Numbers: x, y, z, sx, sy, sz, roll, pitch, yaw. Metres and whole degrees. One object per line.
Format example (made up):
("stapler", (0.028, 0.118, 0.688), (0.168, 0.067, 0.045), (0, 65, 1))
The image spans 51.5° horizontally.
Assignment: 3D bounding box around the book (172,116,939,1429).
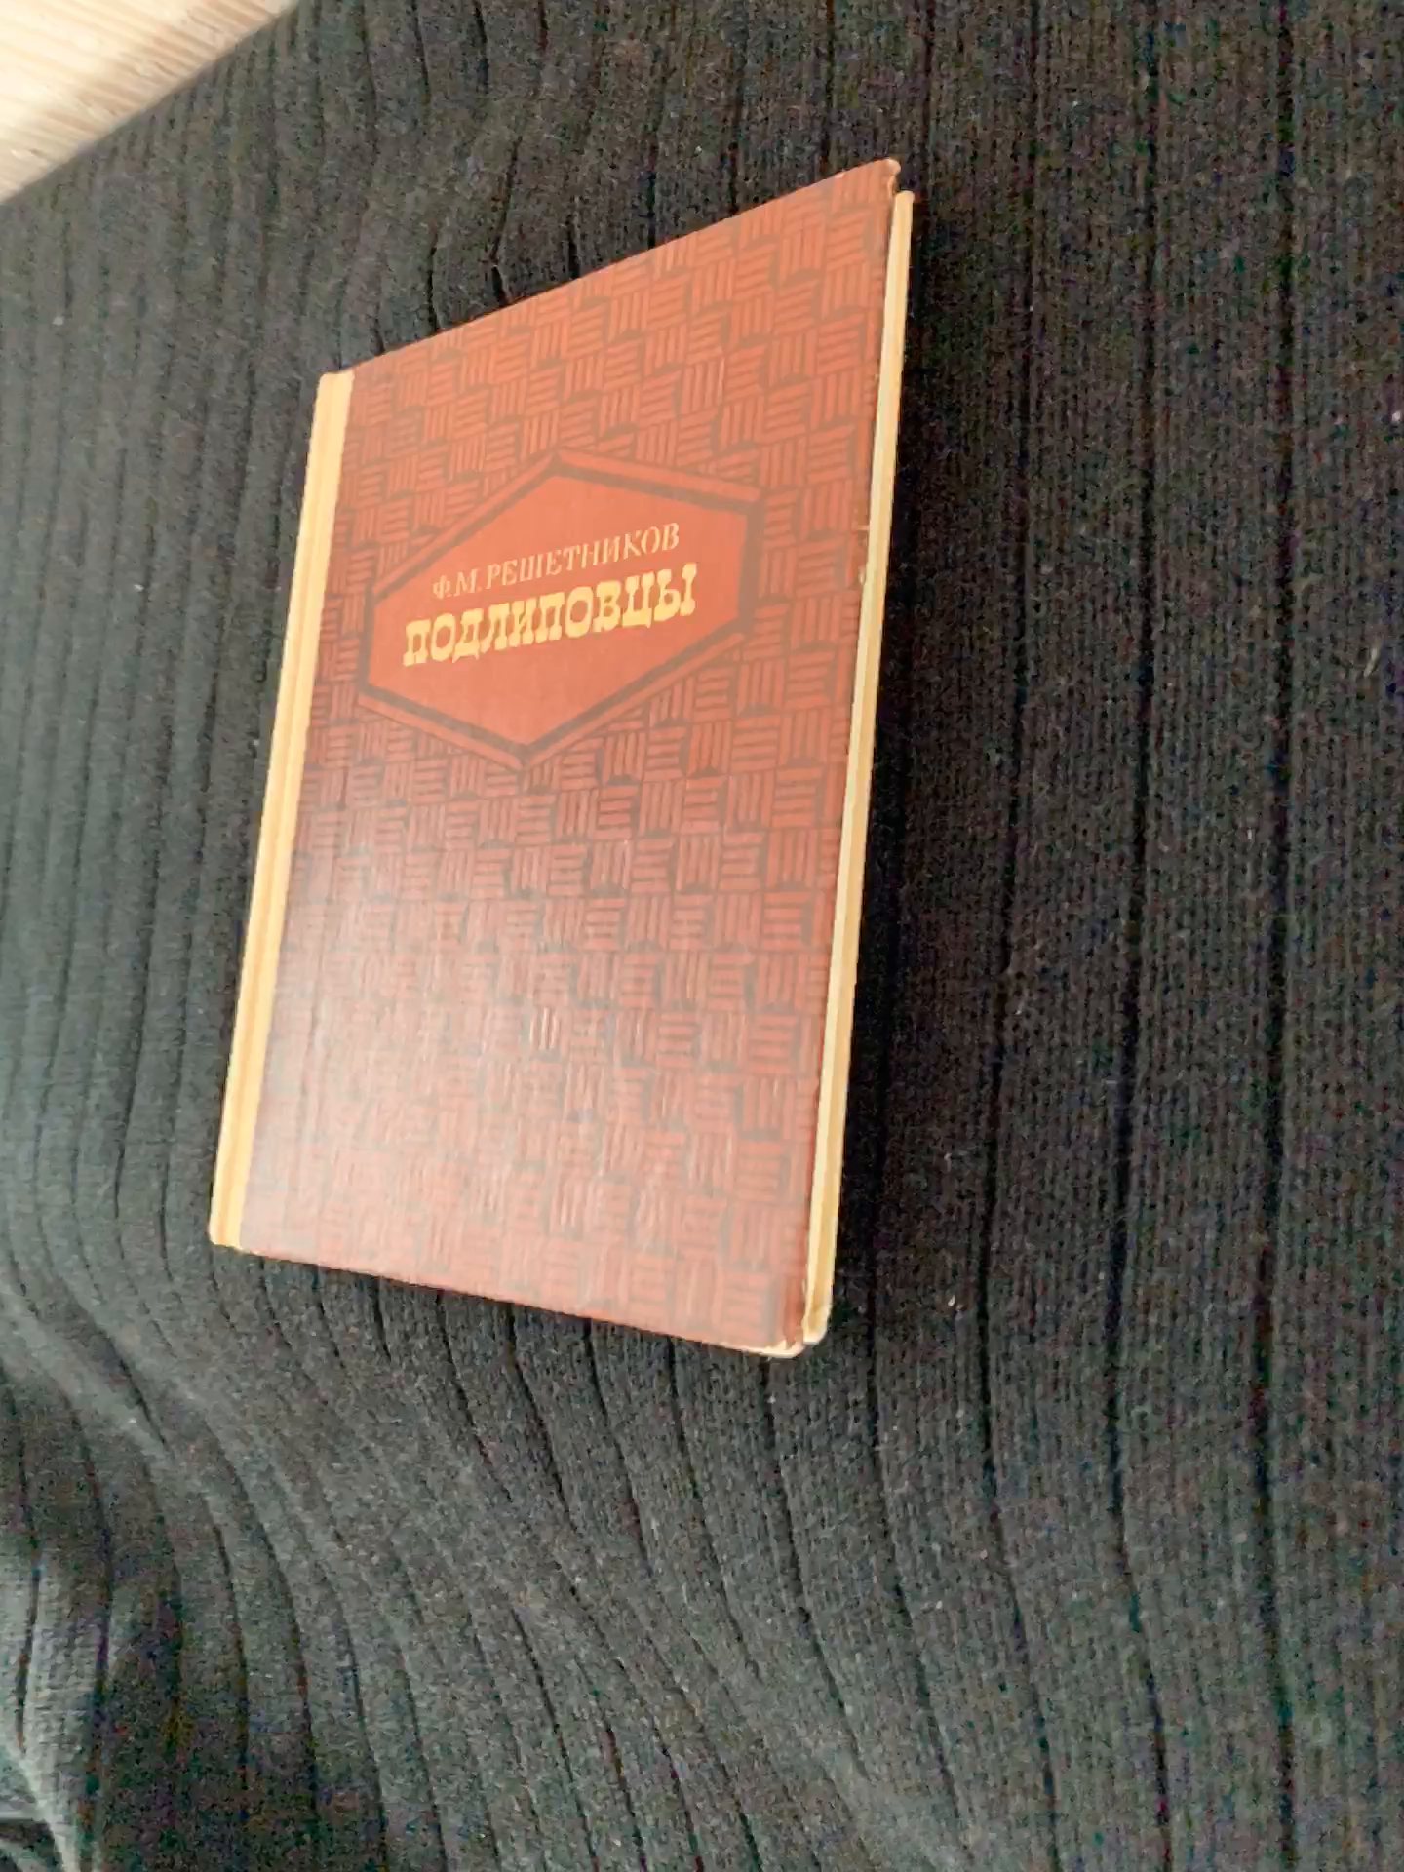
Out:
("book", (-0.029, -0.025, 0.234), (0.130, 0.015, 0.177), (-2, 78, 38))
